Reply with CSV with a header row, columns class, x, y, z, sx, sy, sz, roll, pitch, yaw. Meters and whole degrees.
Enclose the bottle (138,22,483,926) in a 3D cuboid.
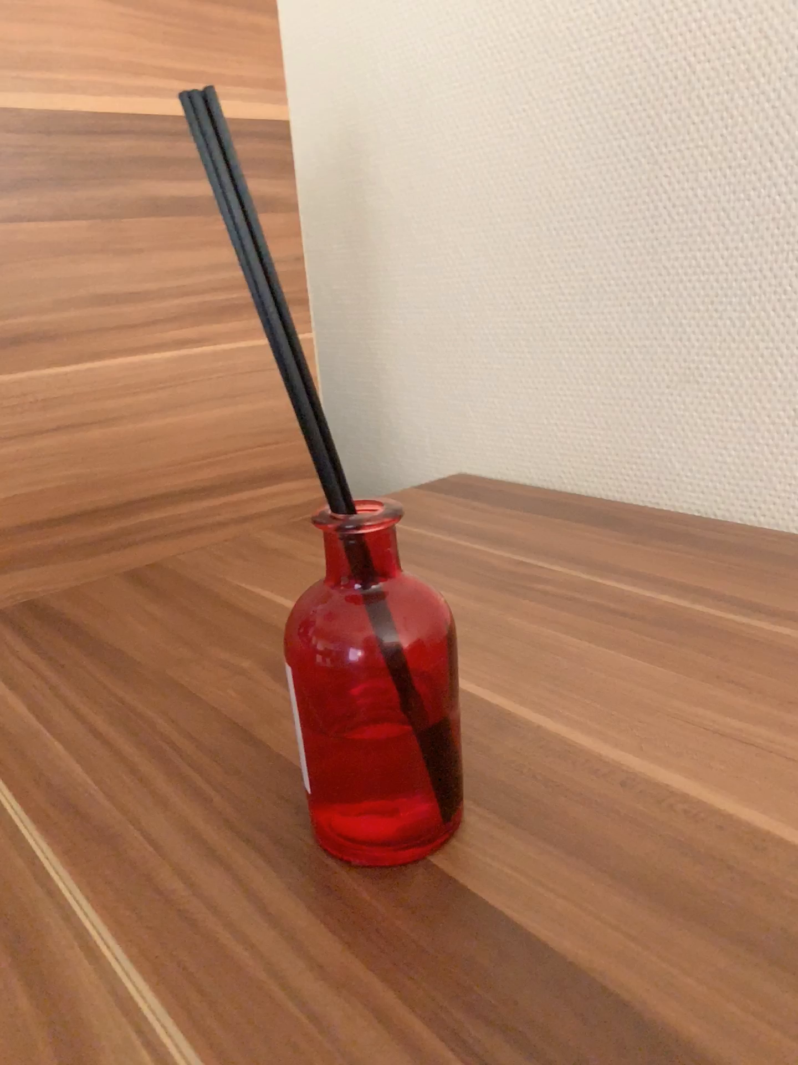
class,x,y,z,sx,sy,sz,roll,pitch,yaw
bottle,-0.020,-0.008,0.247,0.060,0.239,0.050,-16,21,-32
